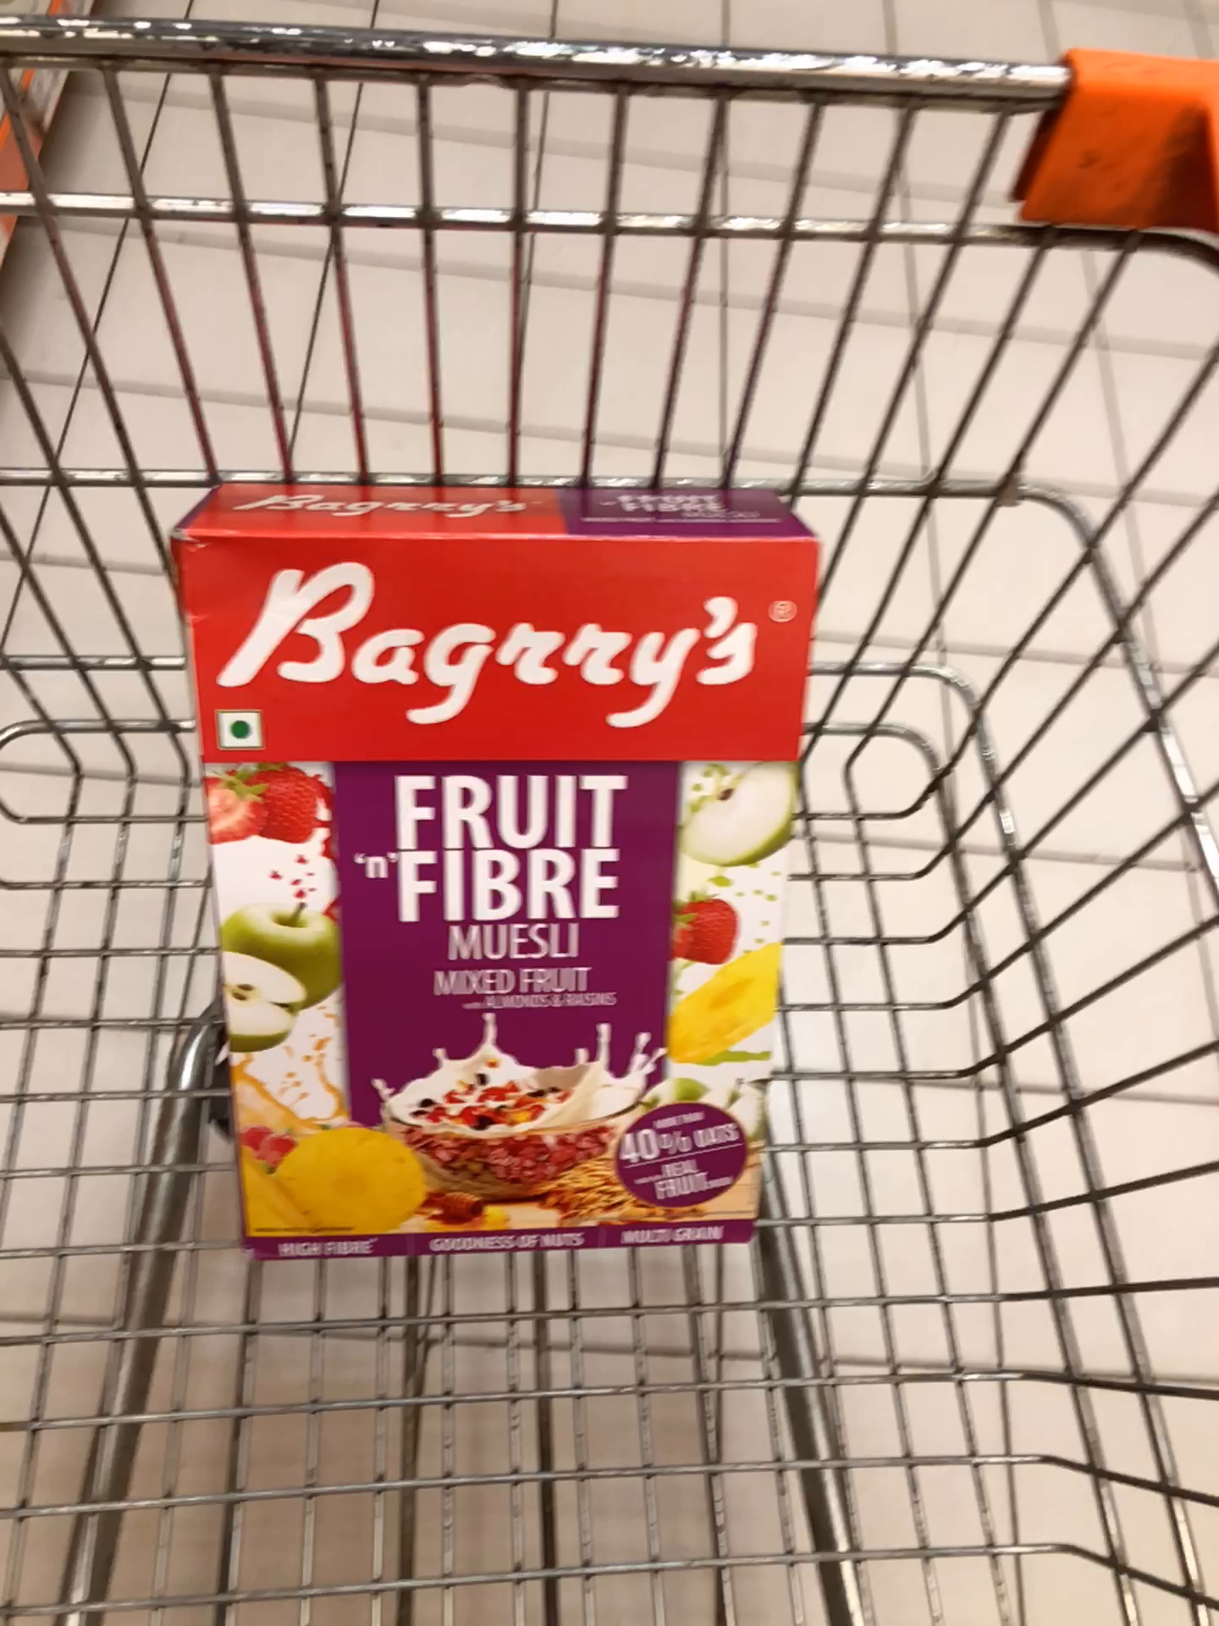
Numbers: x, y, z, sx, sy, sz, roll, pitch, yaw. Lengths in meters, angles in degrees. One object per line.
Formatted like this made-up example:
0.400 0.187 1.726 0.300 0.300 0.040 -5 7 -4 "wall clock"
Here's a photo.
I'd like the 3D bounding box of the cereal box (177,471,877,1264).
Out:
-0.028 0.022 0.446 0.190 0.249 0.070 0 22 -6 "cereal box"
